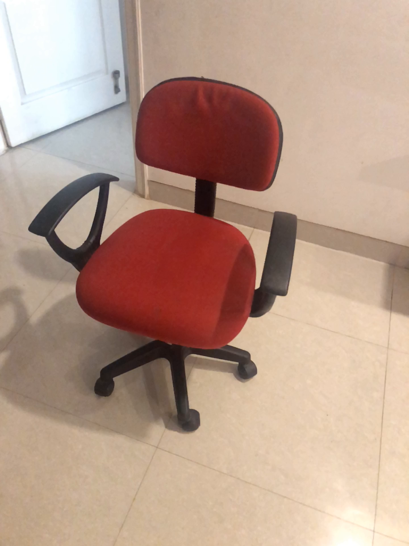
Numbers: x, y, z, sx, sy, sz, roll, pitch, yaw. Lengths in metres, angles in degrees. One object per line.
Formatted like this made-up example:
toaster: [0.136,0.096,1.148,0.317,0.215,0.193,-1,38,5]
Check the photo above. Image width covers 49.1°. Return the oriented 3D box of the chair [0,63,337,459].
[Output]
chair: [-0.045,-0.033,1.186,0.540,0.725,0.604,15,46,11]
